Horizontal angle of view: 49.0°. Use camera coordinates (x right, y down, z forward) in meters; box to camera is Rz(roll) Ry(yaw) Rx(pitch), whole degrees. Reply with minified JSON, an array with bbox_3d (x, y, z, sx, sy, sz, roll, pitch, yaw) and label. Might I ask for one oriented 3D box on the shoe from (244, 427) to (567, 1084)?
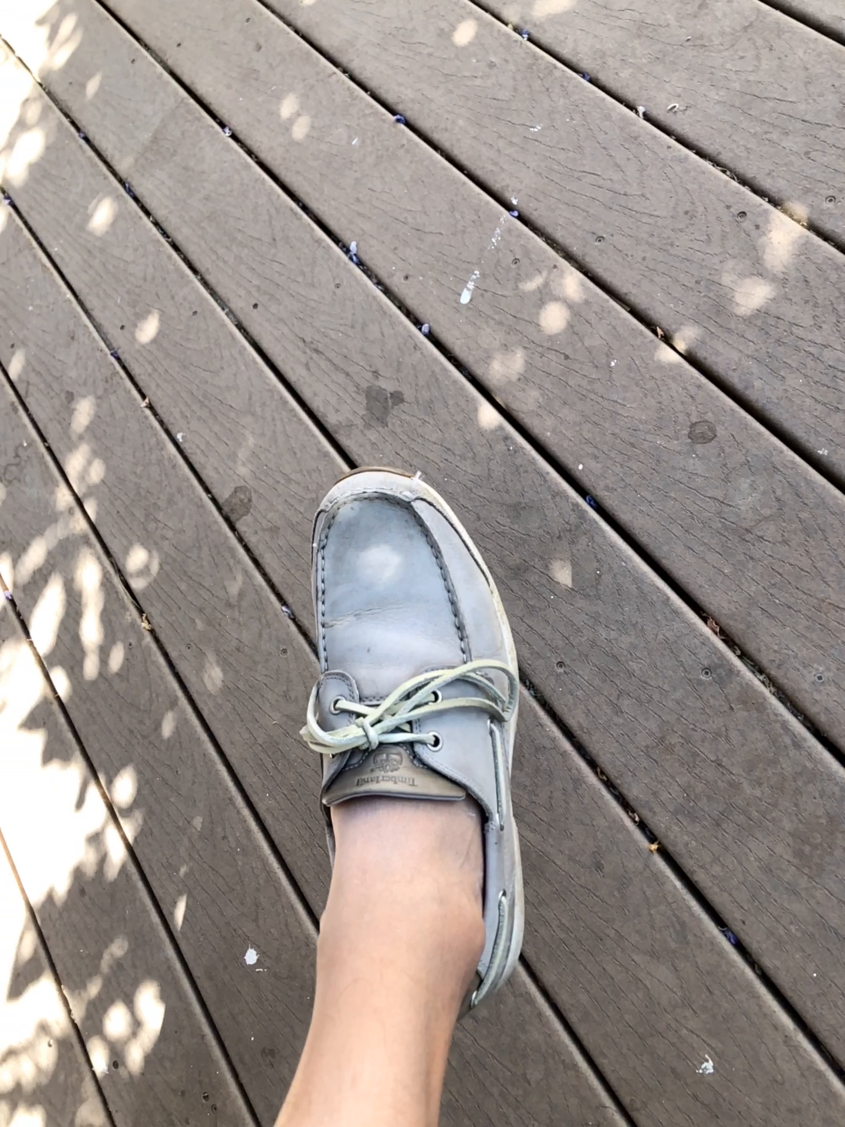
[{"bbox_3d":[-0.010,0.095,0.501,0.115,0.085,0.306,-10,83,26],"label":"shoe"}]
